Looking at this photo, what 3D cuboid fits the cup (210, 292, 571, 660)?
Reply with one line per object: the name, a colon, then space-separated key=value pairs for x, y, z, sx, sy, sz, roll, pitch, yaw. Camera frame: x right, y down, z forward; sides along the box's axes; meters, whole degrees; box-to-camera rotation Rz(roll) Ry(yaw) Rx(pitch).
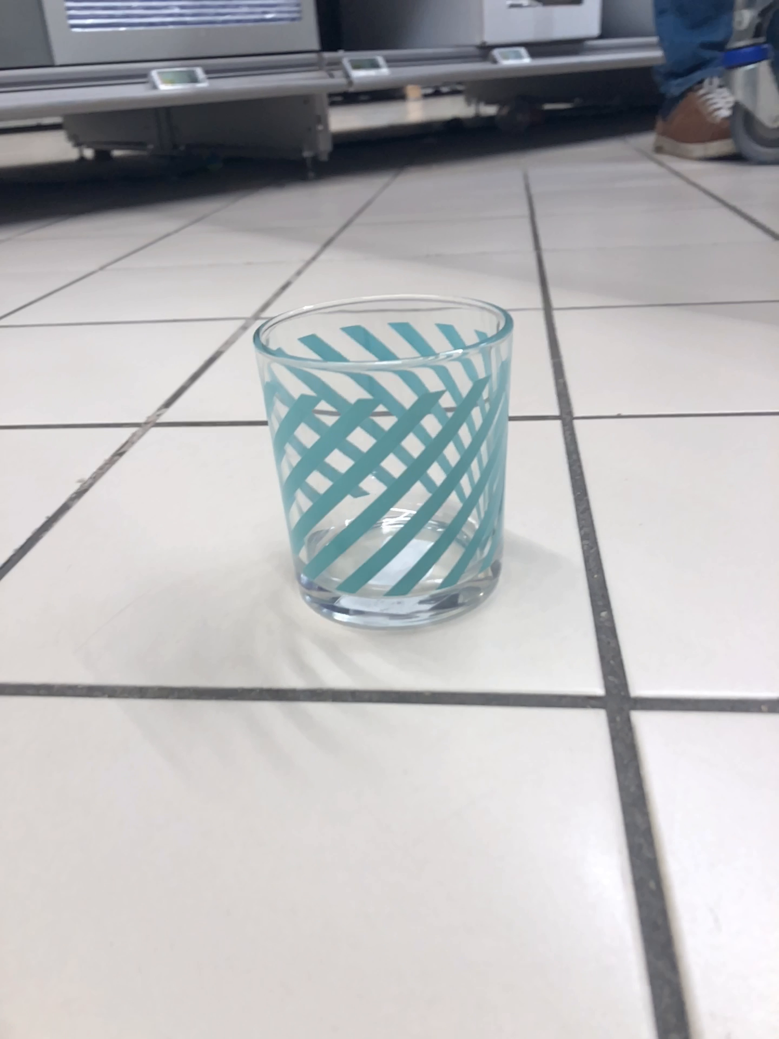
cup: x=0.006 y=-0.019 z=0.265 sx=0.079 sy=0.080 sz=0.076 roll=-3 pitch=27 yaw=2
